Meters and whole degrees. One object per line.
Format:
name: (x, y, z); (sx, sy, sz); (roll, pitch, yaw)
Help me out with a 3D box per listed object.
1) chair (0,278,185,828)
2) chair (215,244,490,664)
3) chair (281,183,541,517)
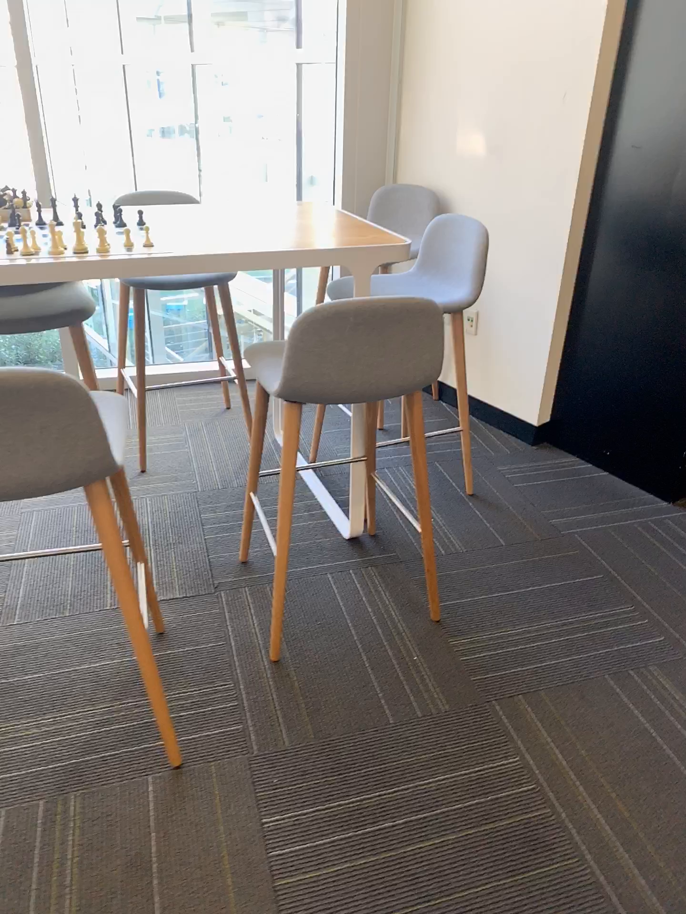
chair: (-0.662, 0.168, 1.469); (0.550, 0.934, 0.553); (-5, 28, -13)
chair: (-0.021, -0.036, 1.909); (0.500, 0.934, 0.553); (-8, 29, -19)
chair: (0.176, -0.449, 2.632); (0.620, 0.994, 0.785); (-8, 29, -18)
